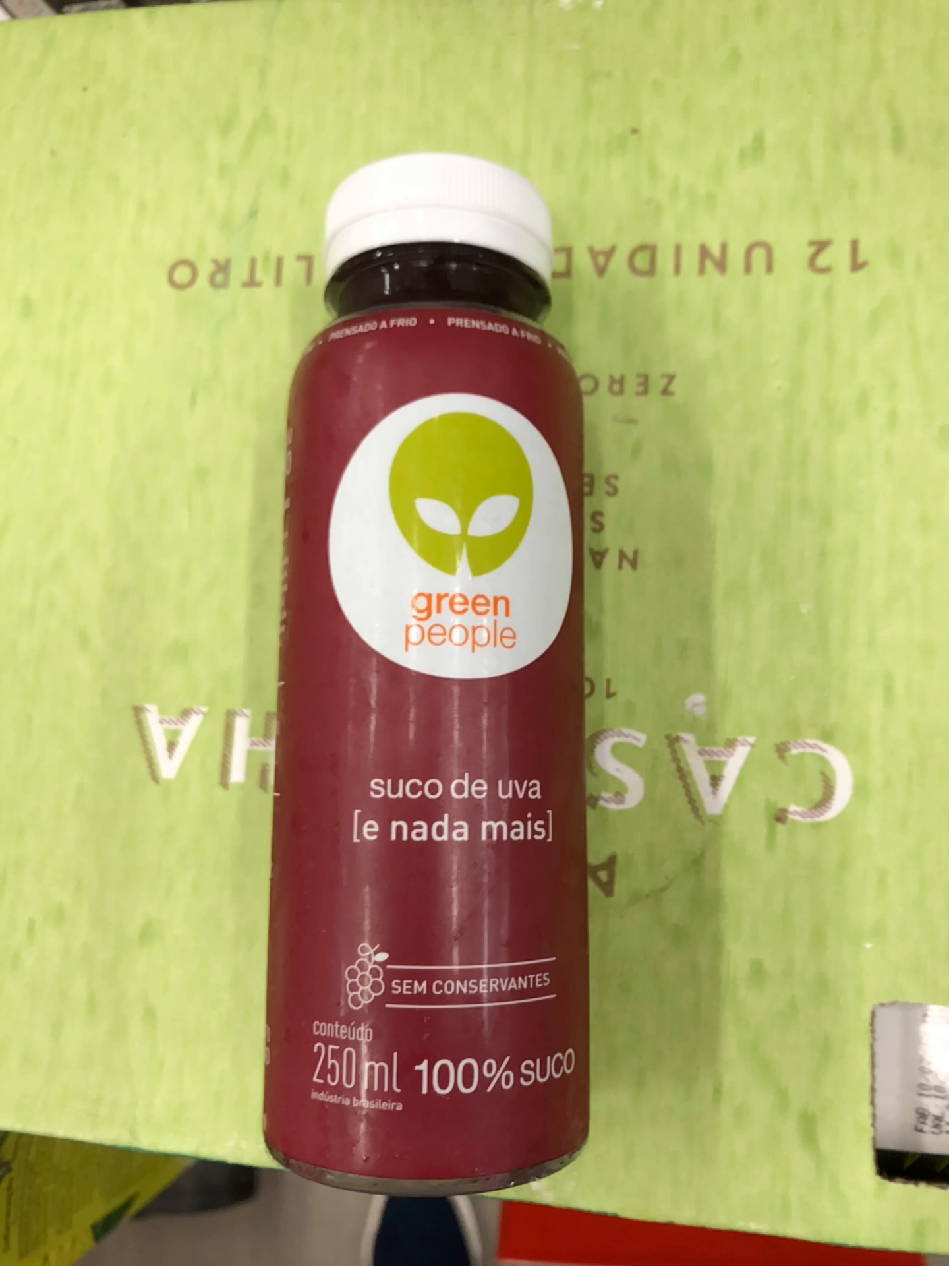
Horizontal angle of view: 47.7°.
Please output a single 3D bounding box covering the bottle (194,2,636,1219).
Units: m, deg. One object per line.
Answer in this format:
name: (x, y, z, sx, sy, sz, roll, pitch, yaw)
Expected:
bottle: (-0.012, -0.004, 0.184, 0.060, 0.060, 0.170, 3, 83, -13)
